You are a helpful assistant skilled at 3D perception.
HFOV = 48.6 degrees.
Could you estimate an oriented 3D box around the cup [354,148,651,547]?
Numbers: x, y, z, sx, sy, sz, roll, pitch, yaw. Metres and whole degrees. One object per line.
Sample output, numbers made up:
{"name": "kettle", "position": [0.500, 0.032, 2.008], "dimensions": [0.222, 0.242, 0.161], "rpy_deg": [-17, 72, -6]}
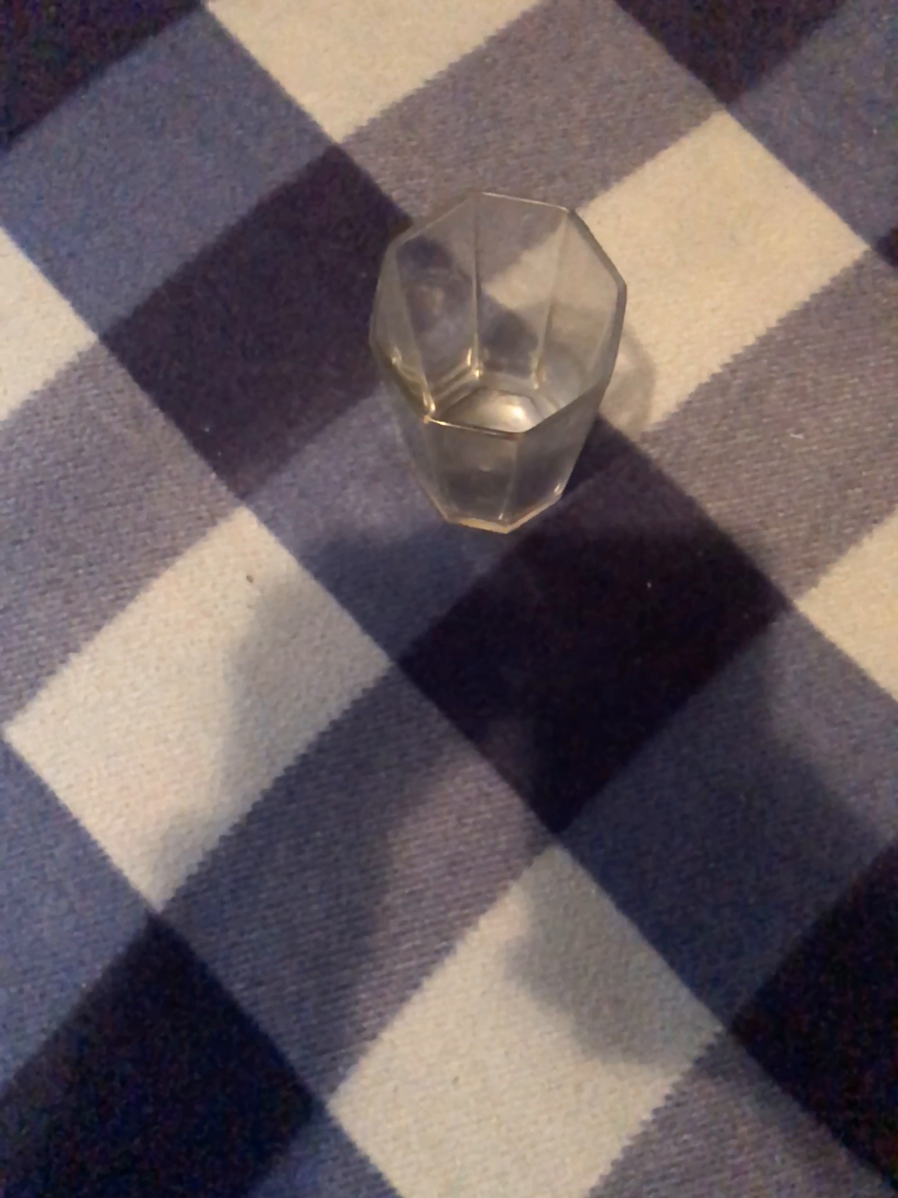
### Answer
{"name": "cup", "position": [0.014, -0.072, 0.332], "dimensions": [0.077, 0.137, 0.082], "rpy_deg": [0, 81, 0]}
